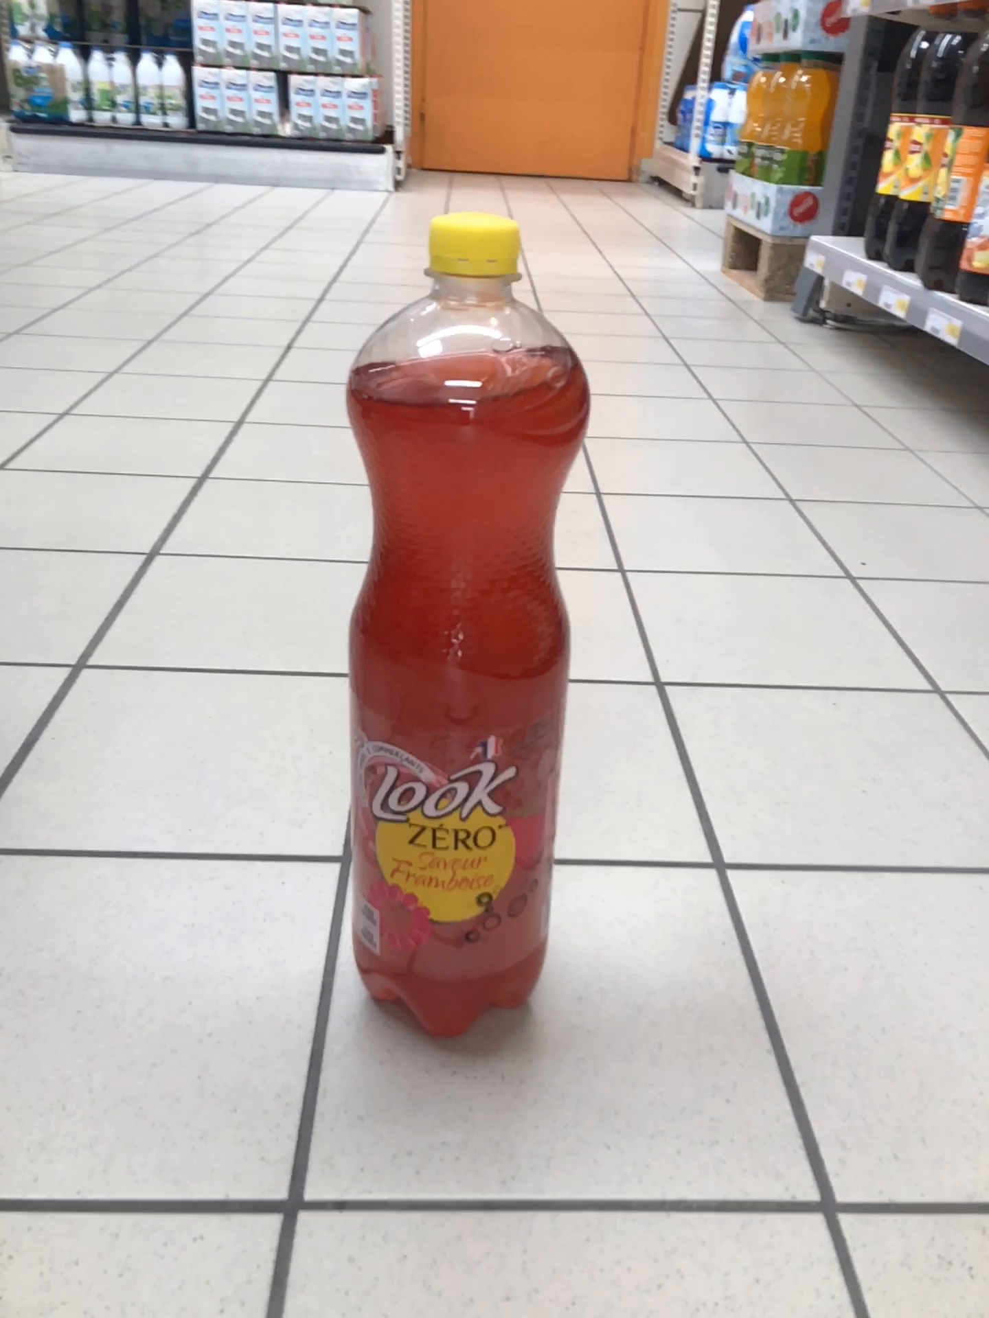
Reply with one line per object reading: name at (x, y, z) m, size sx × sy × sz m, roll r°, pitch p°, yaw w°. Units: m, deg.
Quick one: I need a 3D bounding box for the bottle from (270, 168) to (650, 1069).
bottle at (-0.014, -0.006, 0.420) m, size 0.100 × 0.328 × 0.091 m, roll 9°, pitch 27°, yaw 12°
